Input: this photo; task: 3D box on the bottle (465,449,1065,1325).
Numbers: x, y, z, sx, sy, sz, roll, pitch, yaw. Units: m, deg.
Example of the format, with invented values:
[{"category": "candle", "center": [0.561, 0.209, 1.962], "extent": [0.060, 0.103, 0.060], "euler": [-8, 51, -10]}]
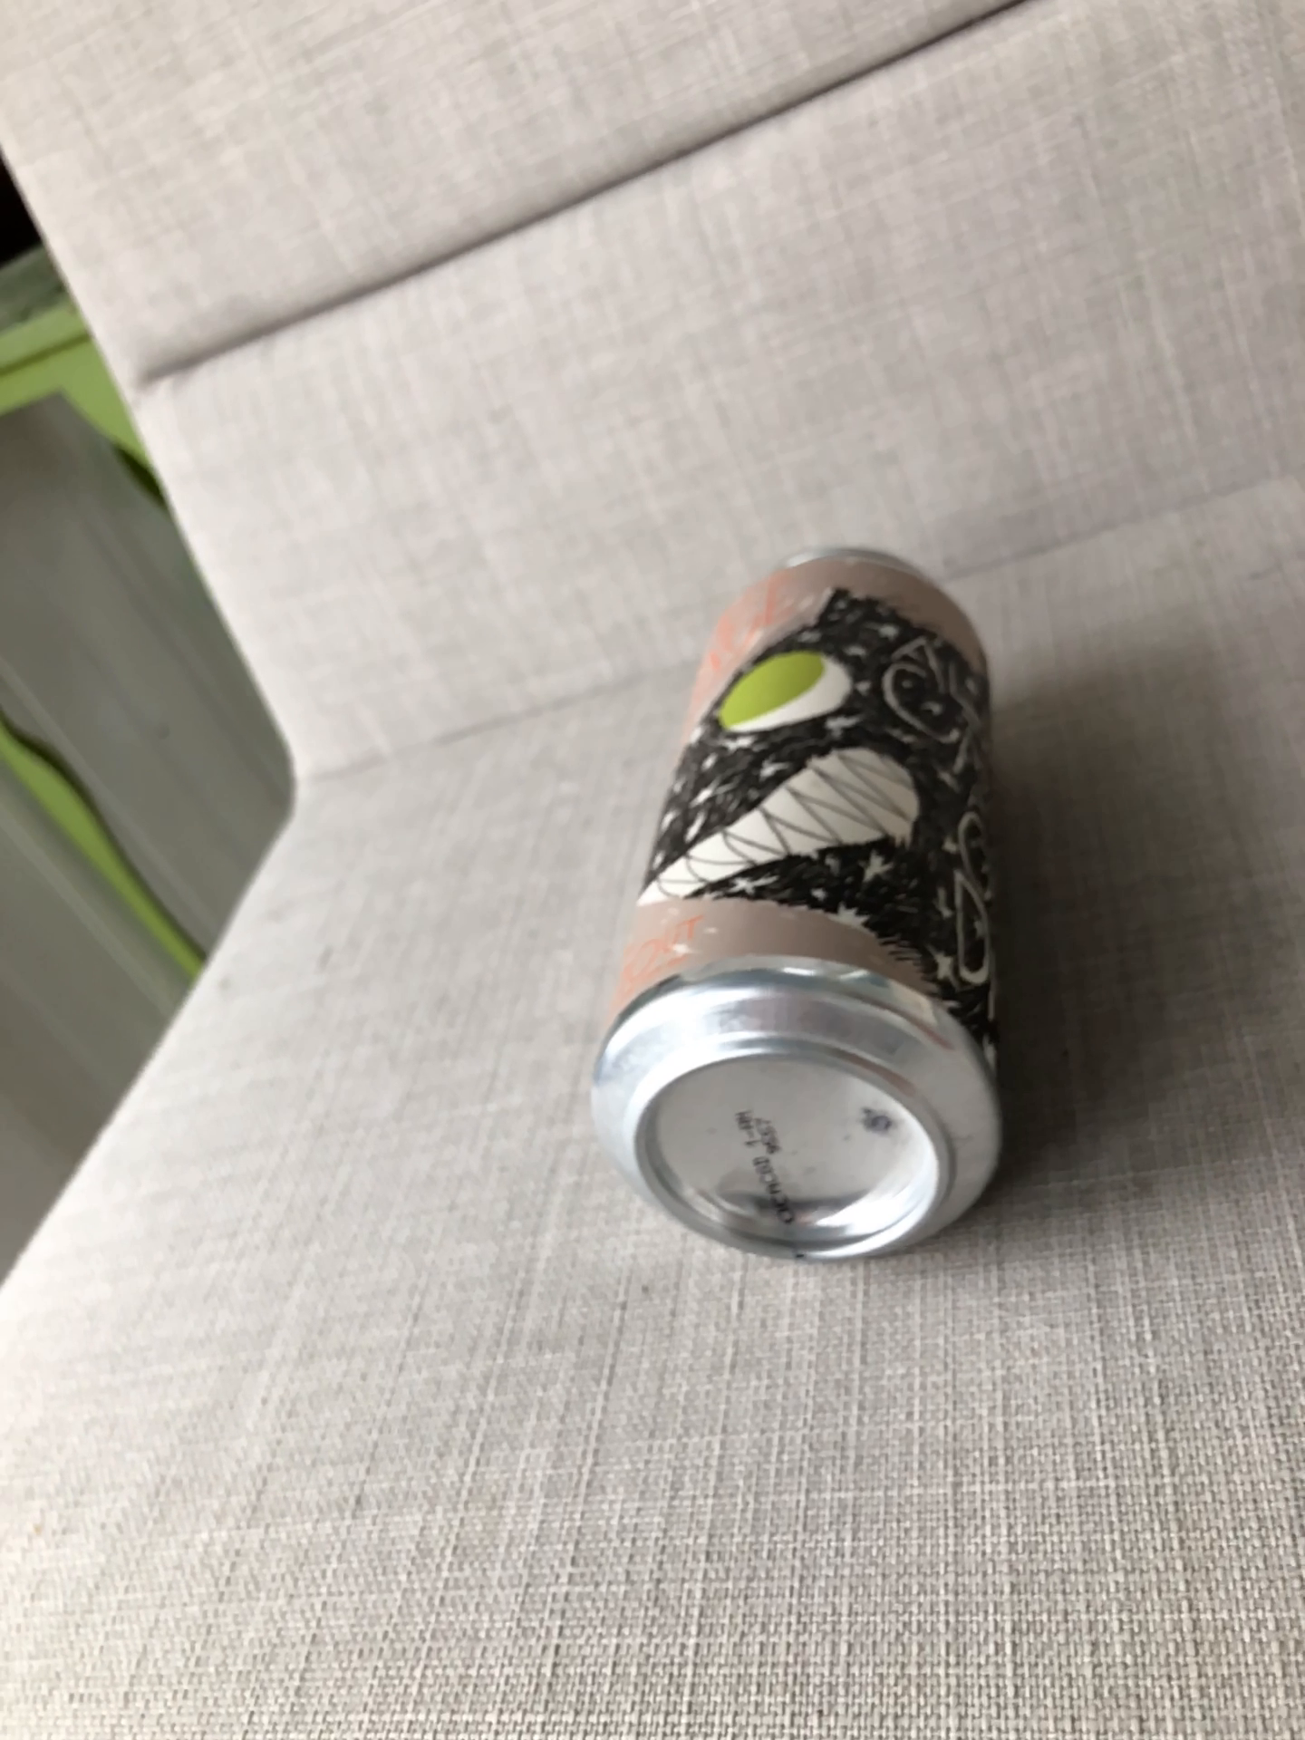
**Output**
[{"category": "bottle", "center": [0.028, -0.004, 0.278], "extent": [0.070, 0.069, 0.151], "euler": [-14, 37, 21]}]
